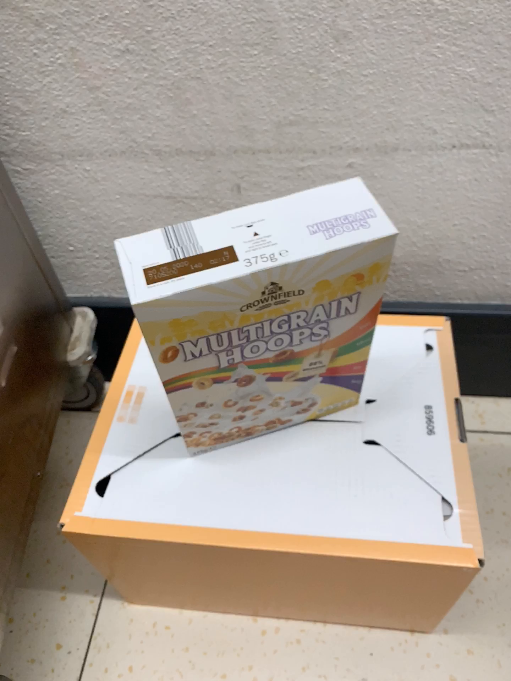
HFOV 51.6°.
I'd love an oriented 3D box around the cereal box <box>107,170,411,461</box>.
[{"bbox_3d":[0.007,-0.004,0.470,0.200,0.248,0.071,-17,56,-9],"label":"cereal box"}]
